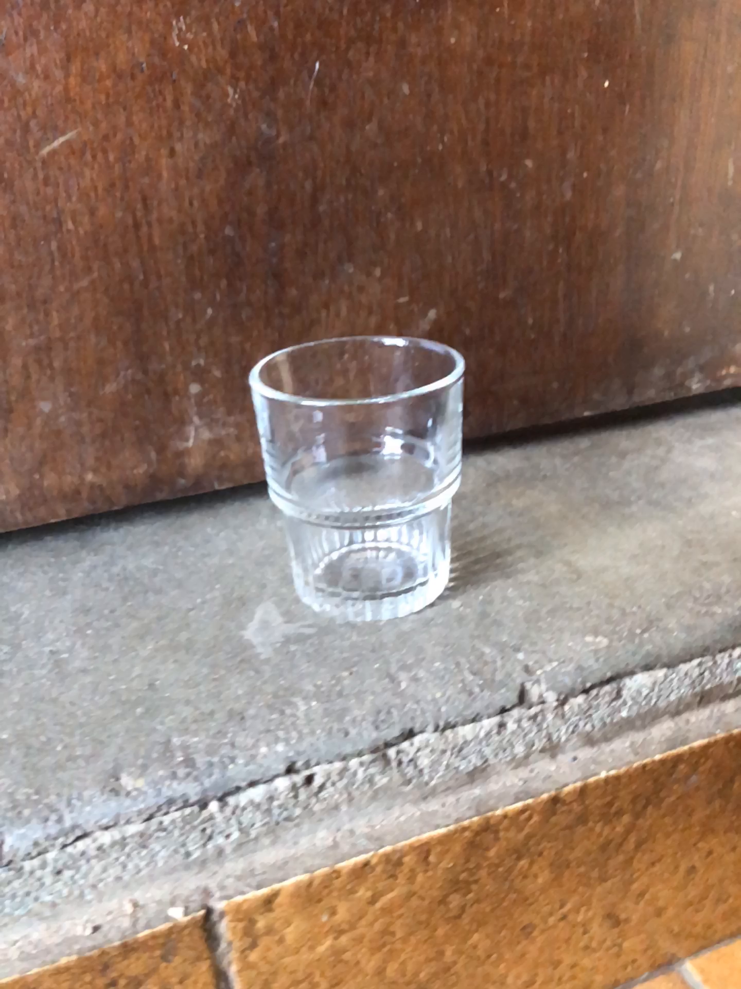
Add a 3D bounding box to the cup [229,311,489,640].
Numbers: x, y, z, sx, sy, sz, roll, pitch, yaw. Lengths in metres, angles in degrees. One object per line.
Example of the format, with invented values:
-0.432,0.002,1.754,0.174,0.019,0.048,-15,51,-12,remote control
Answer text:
-0.004,-0.010,0.271,0.070,0.080,0.070,-3,25,1,cup
